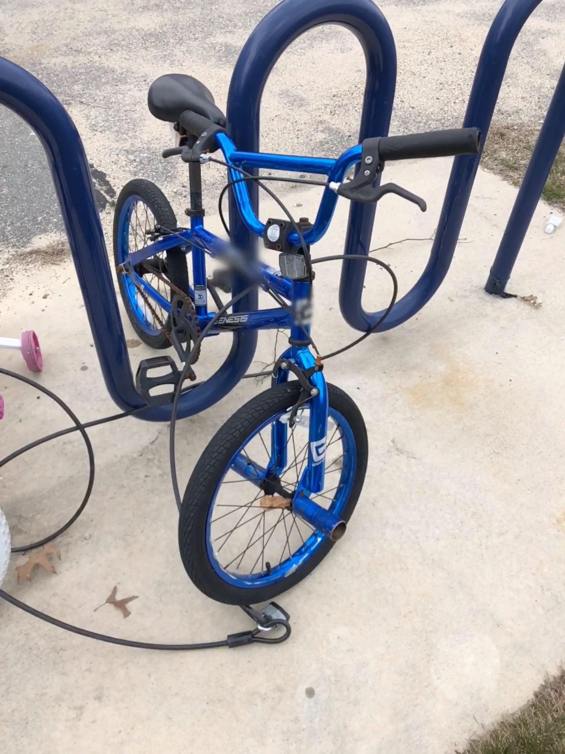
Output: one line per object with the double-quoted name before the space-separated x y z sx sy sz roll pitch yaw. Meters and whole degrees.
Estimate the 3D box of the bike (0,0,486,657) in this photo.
"bike" -0.178 -0.240 1.297 0.622 0.840 1.035 -13 44 -14
